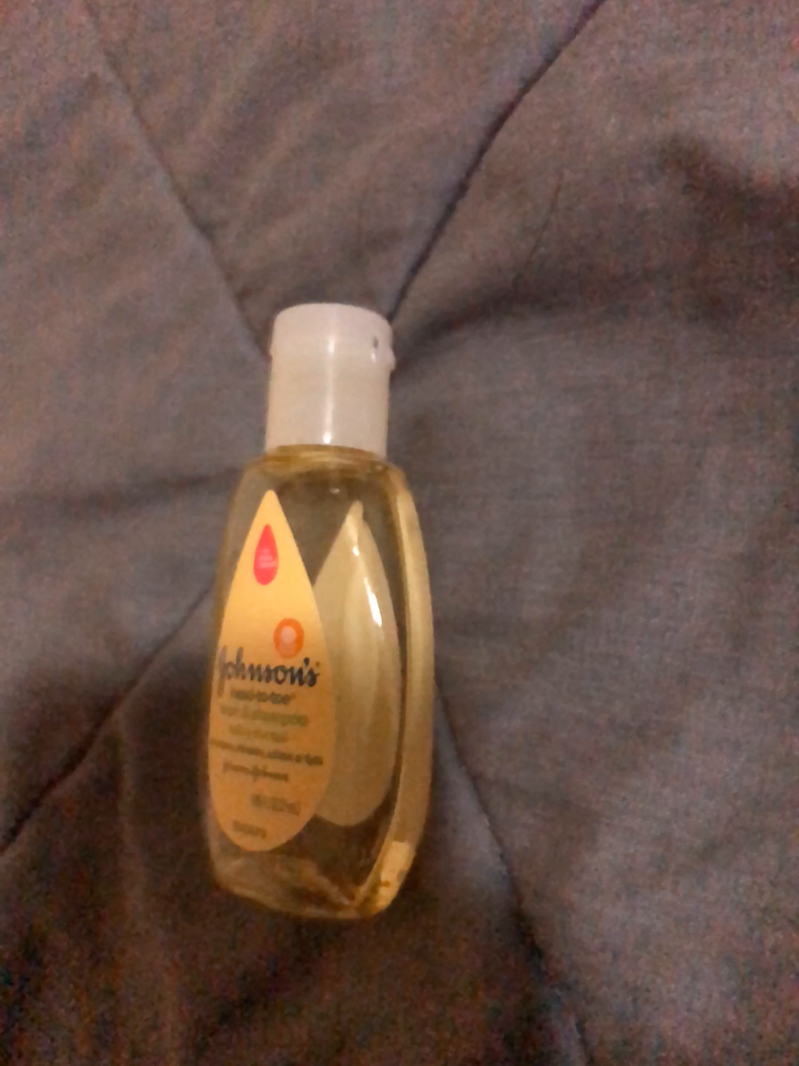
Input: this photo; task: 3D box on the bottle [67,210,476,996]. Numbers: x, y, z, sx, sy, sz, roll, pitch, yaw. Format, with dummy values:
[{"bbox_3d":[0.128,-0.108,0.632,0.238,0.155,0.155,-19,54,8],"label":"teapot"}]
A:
[{"bbox_3d":[-0.019,0.008,0.130,0.050,0.020,0.090,-2,80,42],"label":"bottle"}]
